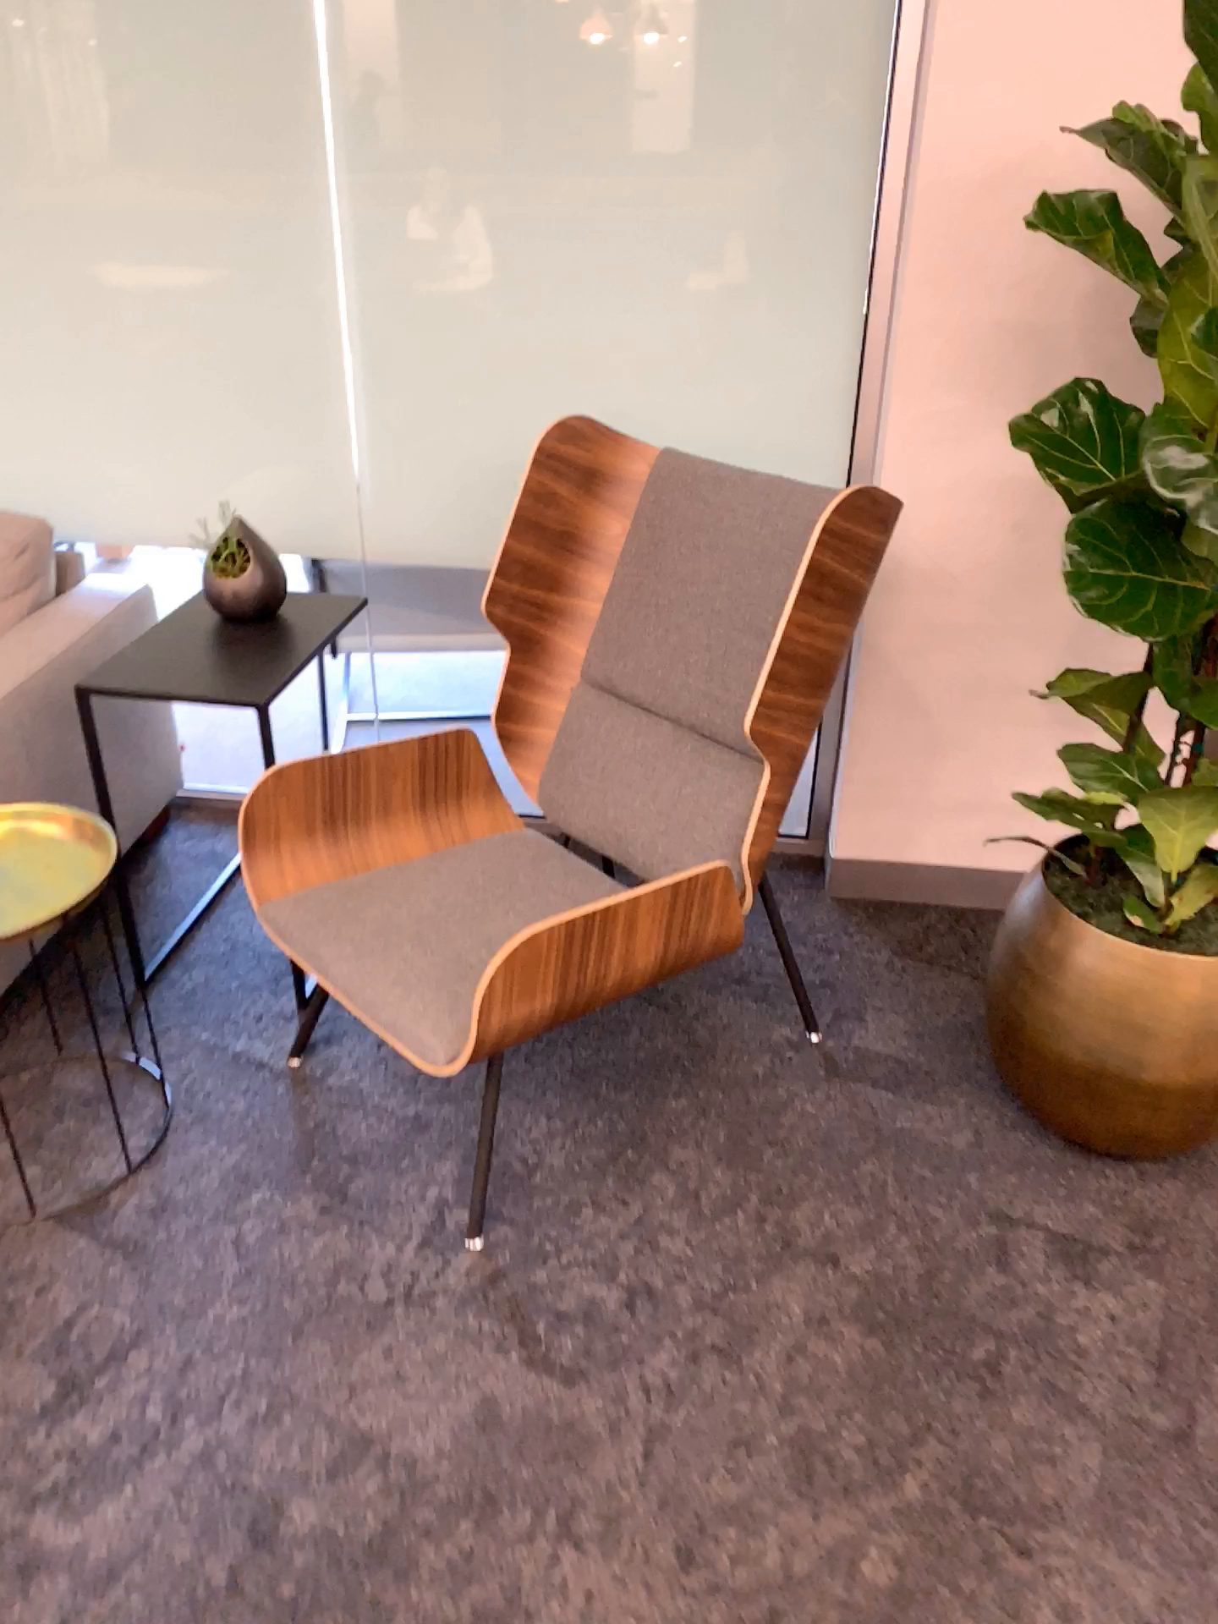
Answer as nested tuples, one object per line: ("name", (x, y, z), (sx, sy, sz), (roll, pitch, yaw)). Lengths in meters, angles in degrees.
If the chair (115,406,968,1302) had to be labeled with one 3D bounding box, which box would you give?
("chair", (-0.110, -0.047, 2.091), (0.931, 0.994, 0.884), (-23, 37, -37))
